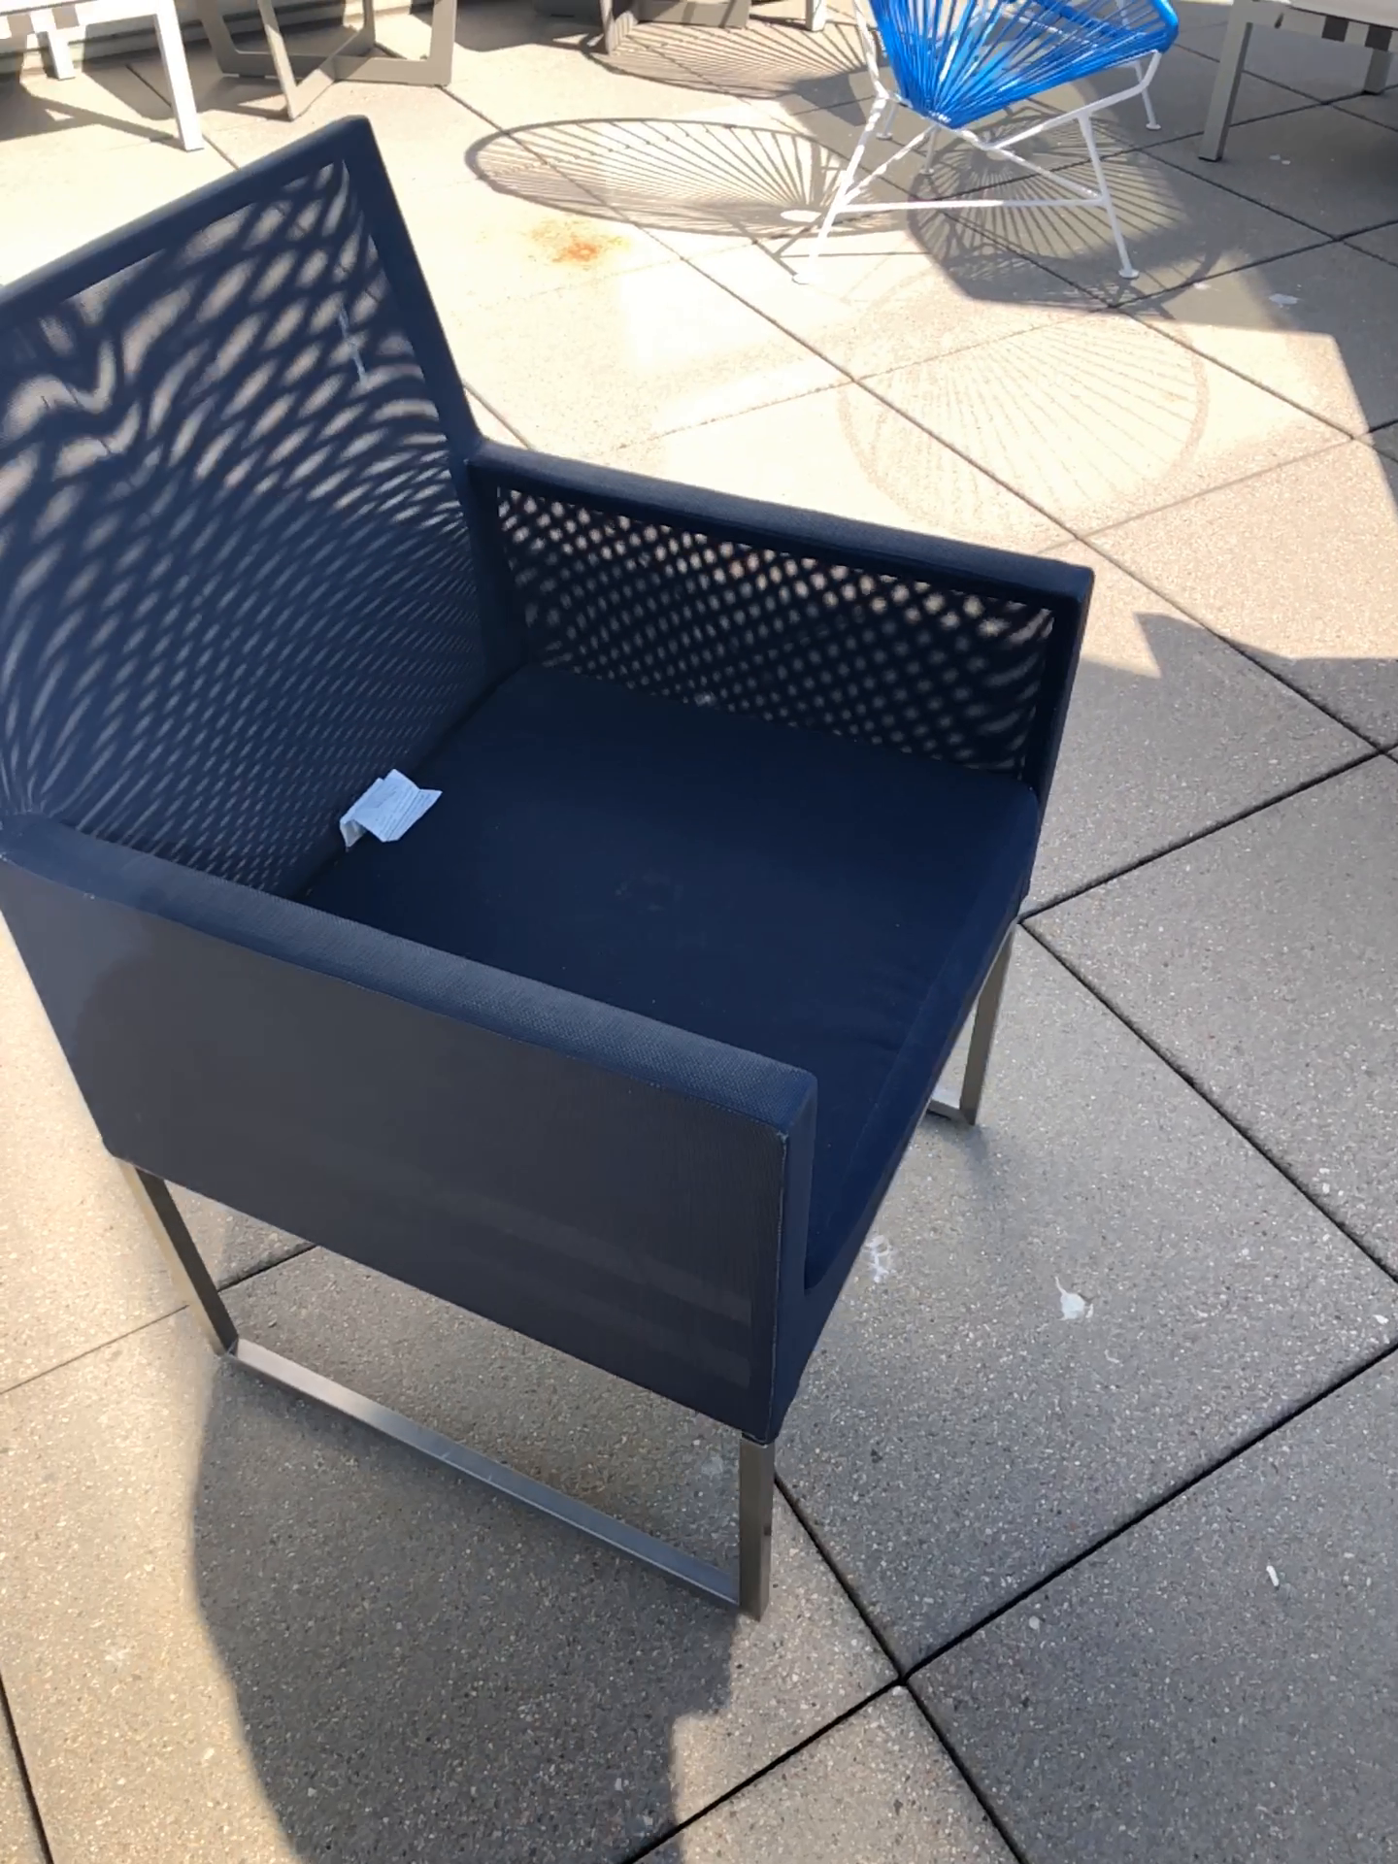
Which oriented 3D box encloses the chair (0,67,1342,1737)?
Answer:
[{"bbox_3d":[-0.066,-0.044,1.083,0.671,0.776,0.652,19,48,19],"label":"chair"}]
